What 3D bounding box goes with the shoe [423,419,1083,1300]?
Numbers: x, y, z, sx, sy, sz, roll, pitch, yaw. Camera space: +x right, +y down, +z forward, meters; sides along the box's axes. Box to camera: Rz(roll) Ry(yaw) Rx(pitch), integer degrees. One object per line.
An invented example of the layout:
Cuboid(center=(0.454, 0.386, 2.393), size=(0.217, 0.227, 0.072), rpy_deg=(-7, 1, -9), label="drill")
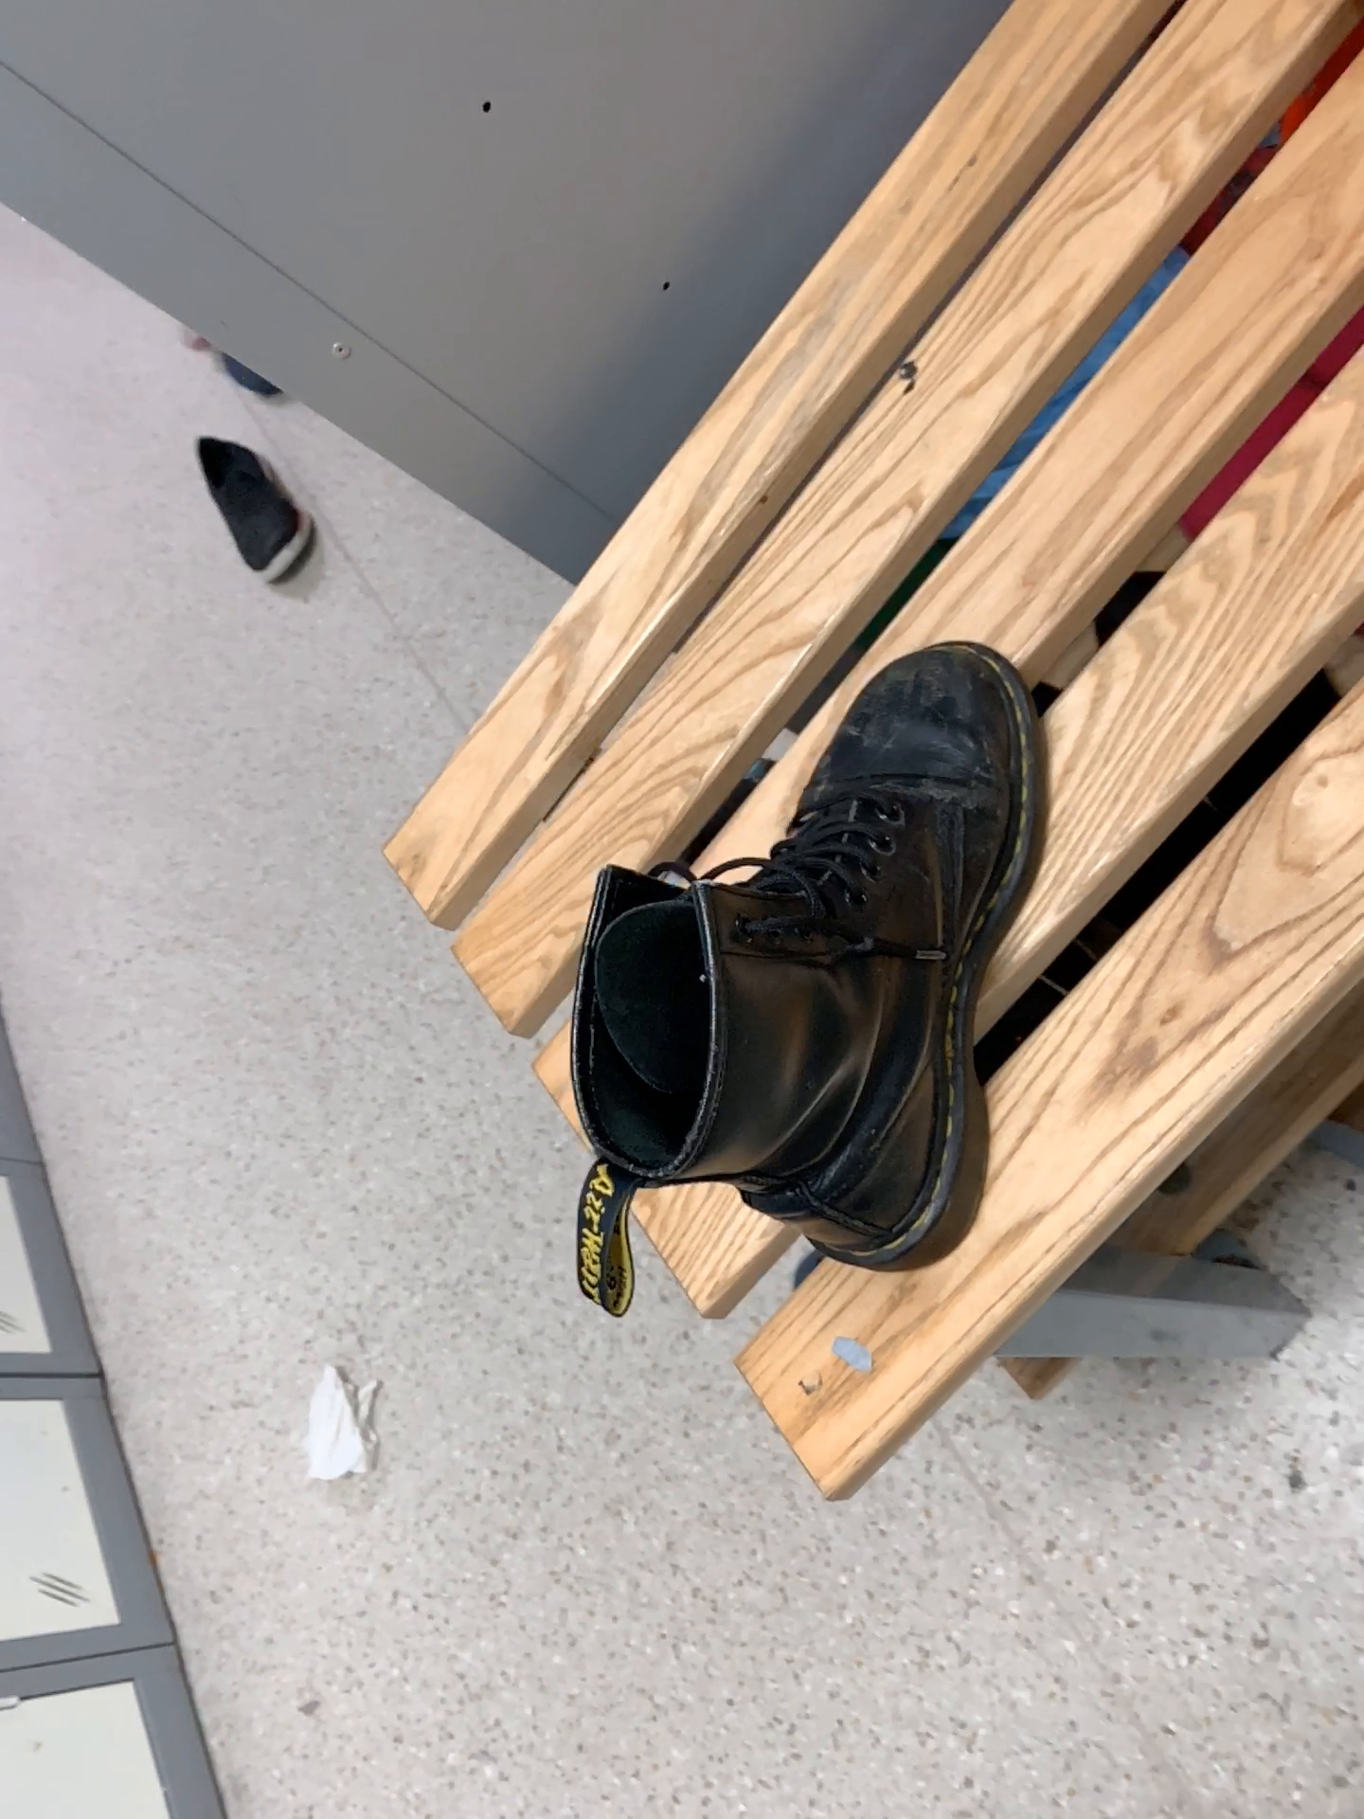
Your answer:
Cuboid(center=(0.042, -0.004, 0.520), size=(0.107, 0.199, 0.261), rpy_deg=(3, 77, 38), label="shoe")
